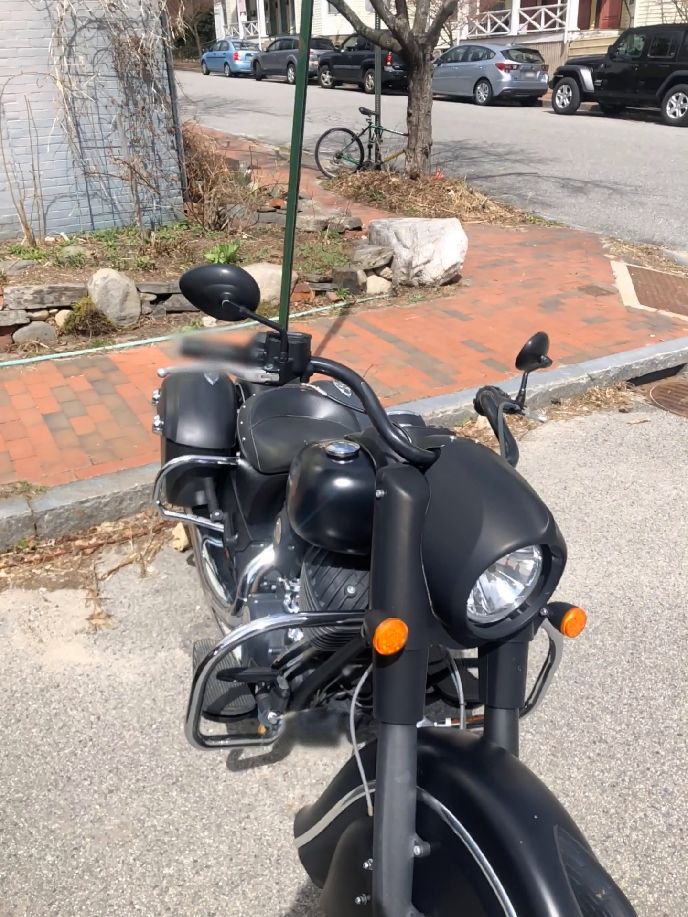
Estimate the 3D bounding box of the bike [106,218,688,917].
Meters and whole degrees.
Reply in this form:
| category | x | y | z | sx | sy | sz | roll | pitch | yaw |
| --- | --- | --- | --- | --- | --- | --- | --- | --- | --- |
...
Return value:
| category | x | y | z | sx | sy | sz | roll | pitch | yaw |
| --- | --- | --- | --- | --- | --- | --- | --- | --- | --- |
| bike | -0.007 | 0.233 | 1.835 | 0.781 | 1.238 | 2.137 | -11 | 27 | -16 |
